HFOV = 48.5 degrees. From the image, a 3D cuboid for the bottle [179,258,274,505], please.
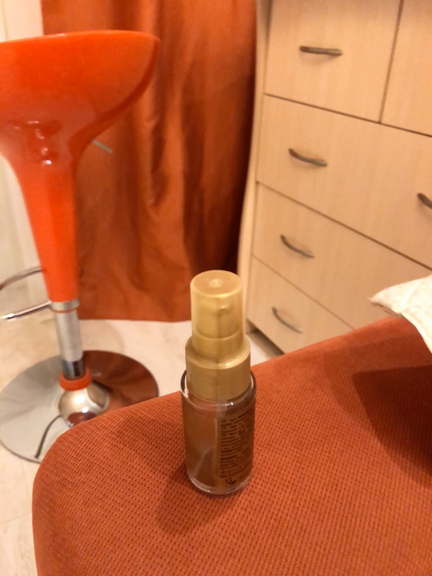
[{"bbox_3d":[0.004,0.044,0.214,0.033,0.106,0.035,2,28,-1],"label":"bottle"}]
